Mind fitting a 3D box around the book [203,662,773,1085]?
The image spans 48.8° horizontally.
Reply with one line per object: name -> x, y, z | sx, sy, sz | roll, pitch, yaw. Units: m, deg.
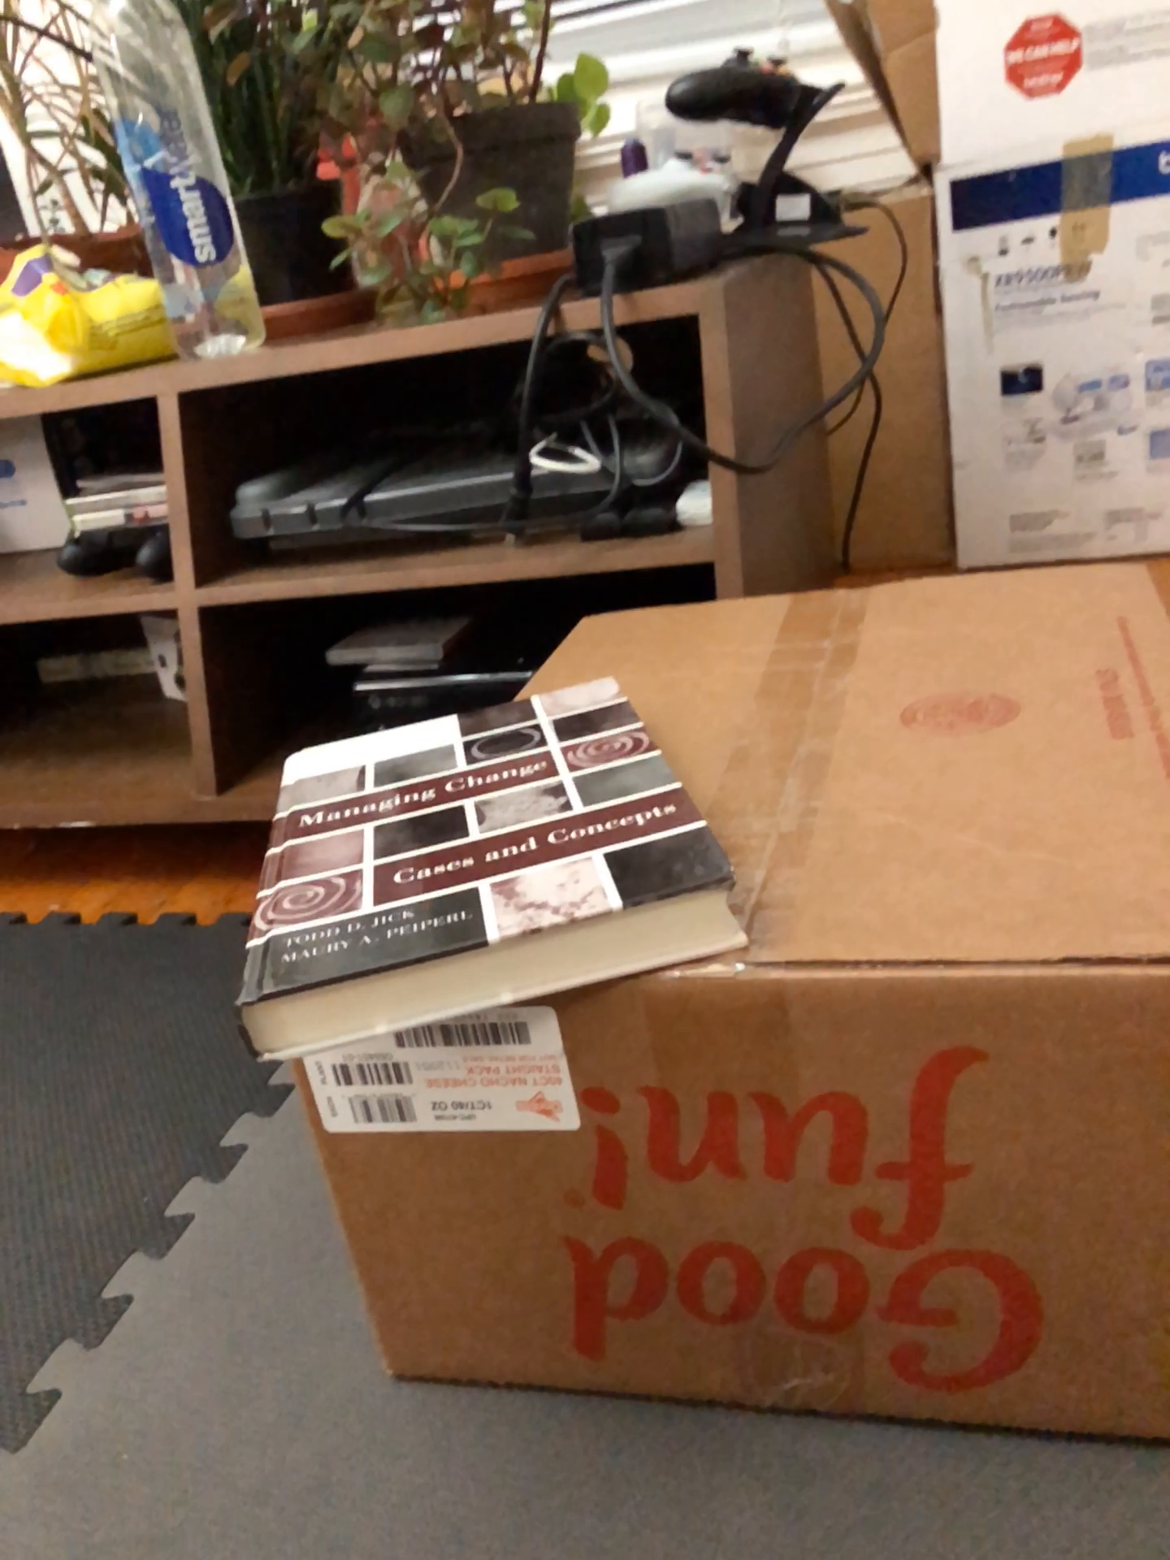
book -> -0.048, 0.019, 0.528 | 0.180, 0.030, 0.251 | -13, 22, -5
